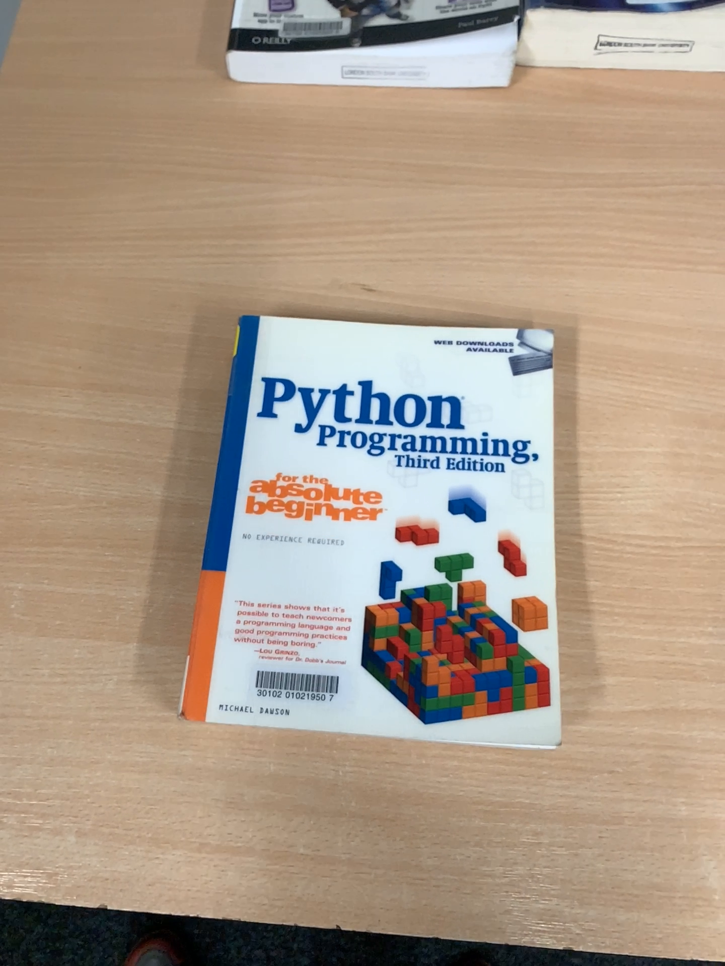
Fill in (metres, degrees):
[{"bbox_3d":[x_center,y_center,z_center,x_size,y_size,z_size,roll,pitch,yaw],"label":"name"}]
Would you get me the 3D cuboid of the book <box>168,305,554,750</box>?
[{"bbox_3d":[0.007,0.016,0.391,0.174,0.039,0.219,4,71,3],"label":"book"}]
